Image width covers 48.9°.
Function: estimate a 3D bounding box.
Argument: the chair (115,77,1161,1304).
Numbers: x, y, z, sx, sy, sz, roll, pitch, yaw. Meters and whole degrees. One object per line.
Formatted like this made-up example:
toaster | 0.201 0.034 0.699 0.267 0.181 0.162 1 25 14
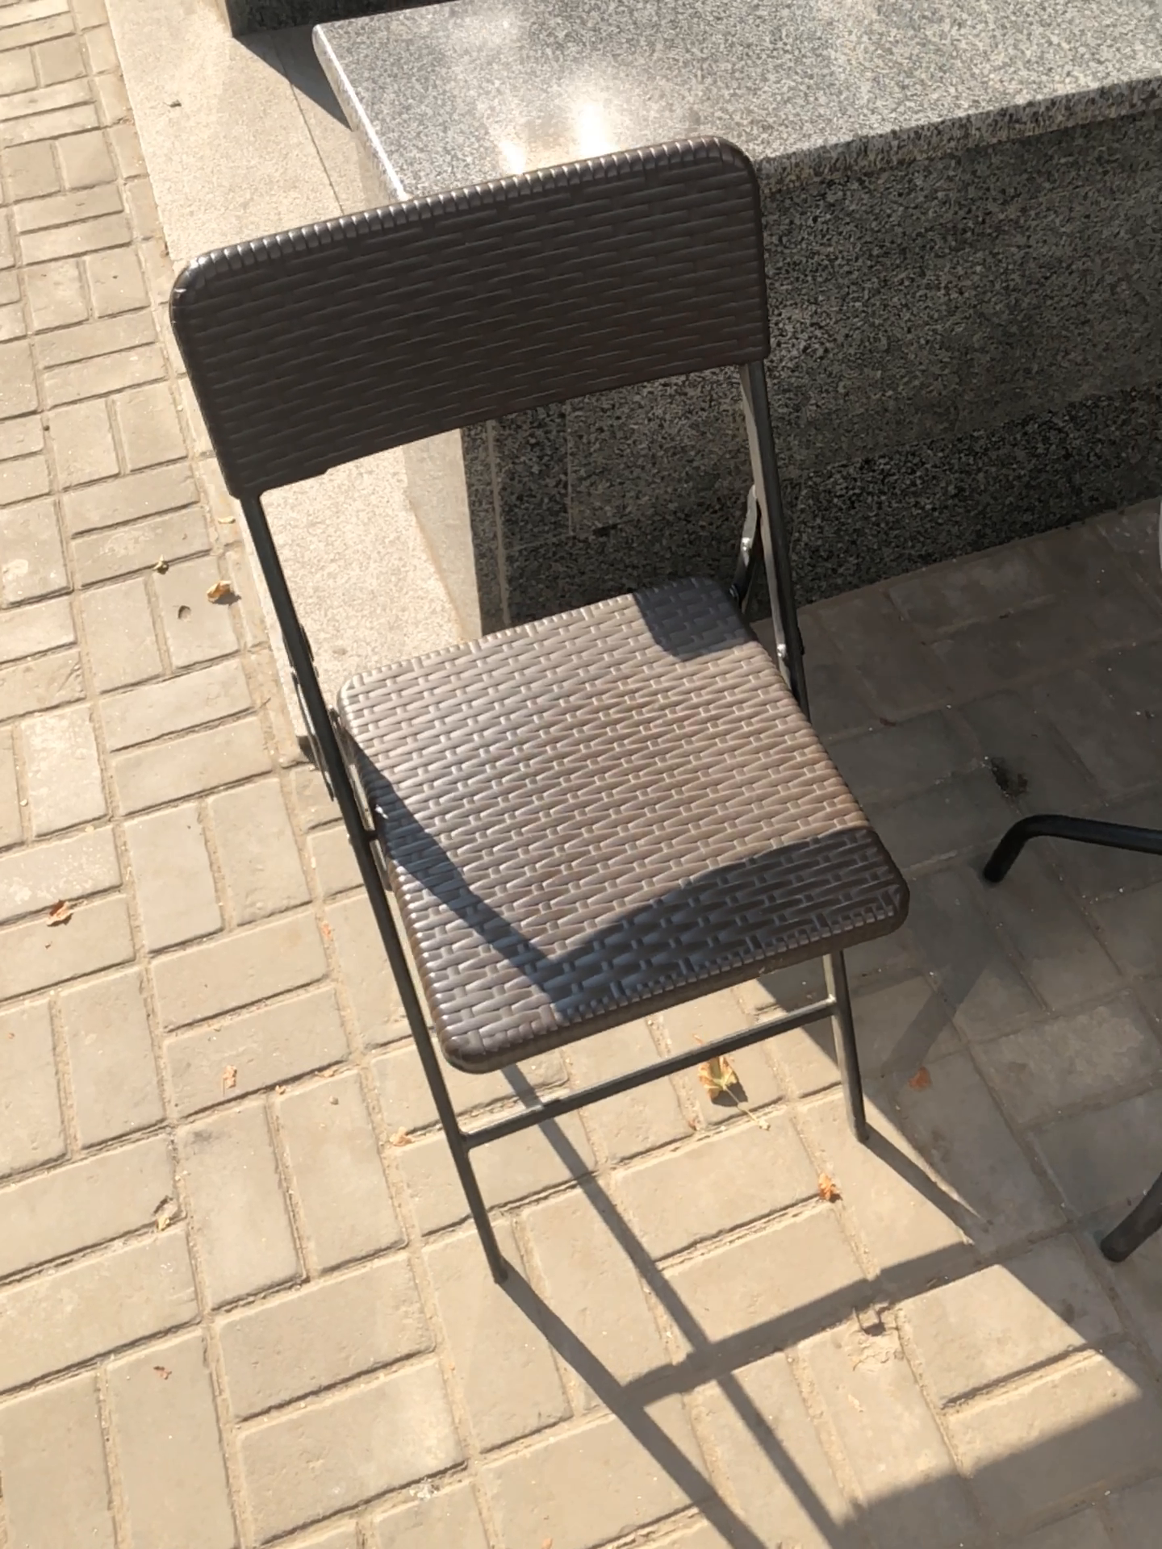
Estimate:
chair | 0.012 0.006 0.996 0.430 0.788 0.461 -18 56 -12
